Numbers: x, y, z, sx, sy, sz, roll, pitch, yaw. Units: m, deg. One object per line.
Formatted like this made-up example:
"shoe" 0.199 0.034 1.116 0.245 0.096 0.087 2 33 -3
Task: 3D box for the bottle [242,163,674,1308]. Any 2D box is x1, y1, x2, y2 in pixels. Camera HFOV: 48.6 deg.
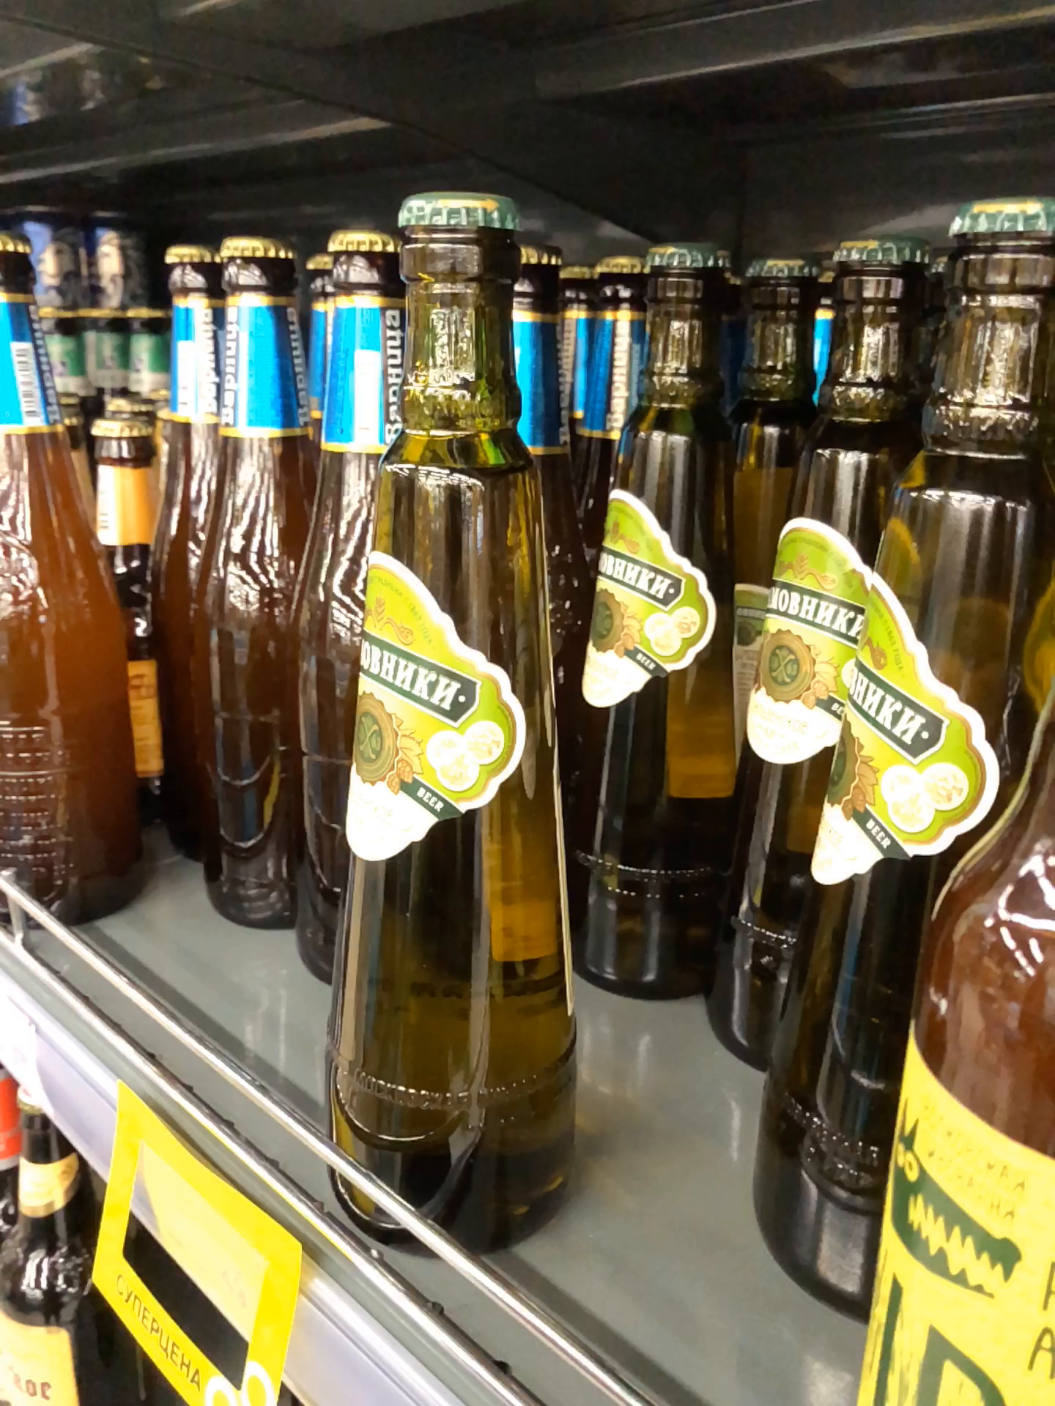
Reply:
"bottle" -0.020 0.011 0.299 0.070 0.261 0.070 1 17 0
